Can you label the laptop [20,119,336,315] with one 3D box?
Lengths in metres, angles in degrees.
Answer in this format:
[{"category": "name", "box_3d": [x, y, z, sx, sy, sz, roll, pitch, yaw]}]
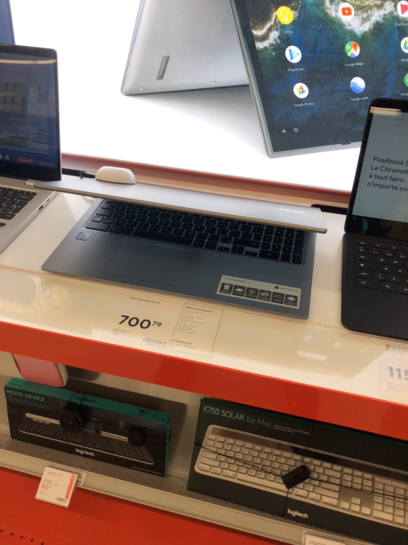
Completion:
[{"category": "laptop", "box_3d": [-0.013, -0.096, 0.642, 0.368, 0.109, 0.245, 10, 42, 8]}]
